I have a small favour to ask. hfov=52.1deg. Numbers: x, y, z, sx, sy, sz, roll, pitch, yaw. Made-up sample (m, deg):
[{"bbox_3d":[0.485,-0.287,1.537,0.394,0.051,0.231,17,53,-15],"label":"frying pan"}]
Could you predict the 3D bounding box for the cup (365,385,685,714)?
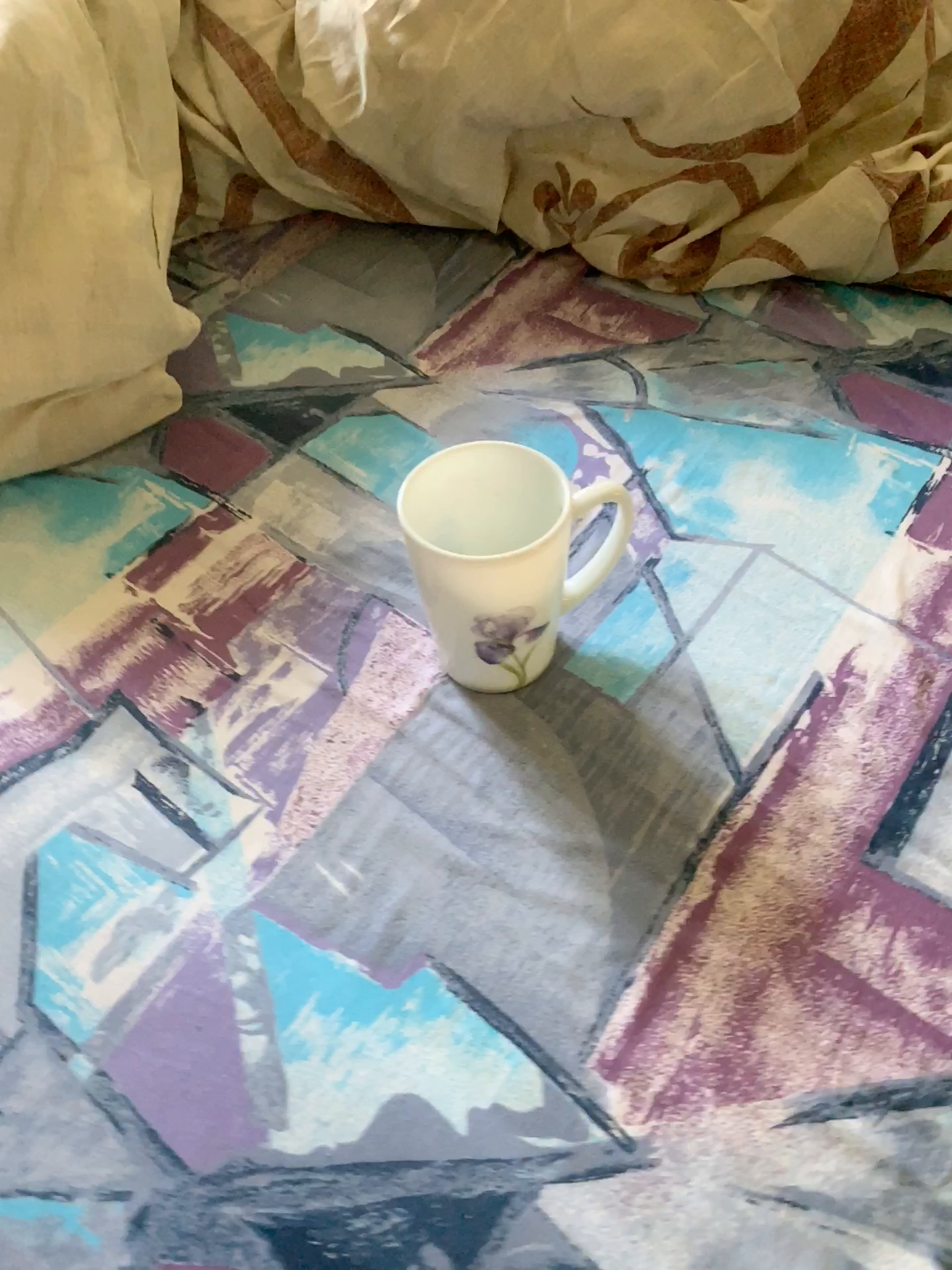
[{"bbox_3d":[0.023,-0.041,0.472,0.120,0.099,0.081,-20,52,-12],"label":"cup"}]
